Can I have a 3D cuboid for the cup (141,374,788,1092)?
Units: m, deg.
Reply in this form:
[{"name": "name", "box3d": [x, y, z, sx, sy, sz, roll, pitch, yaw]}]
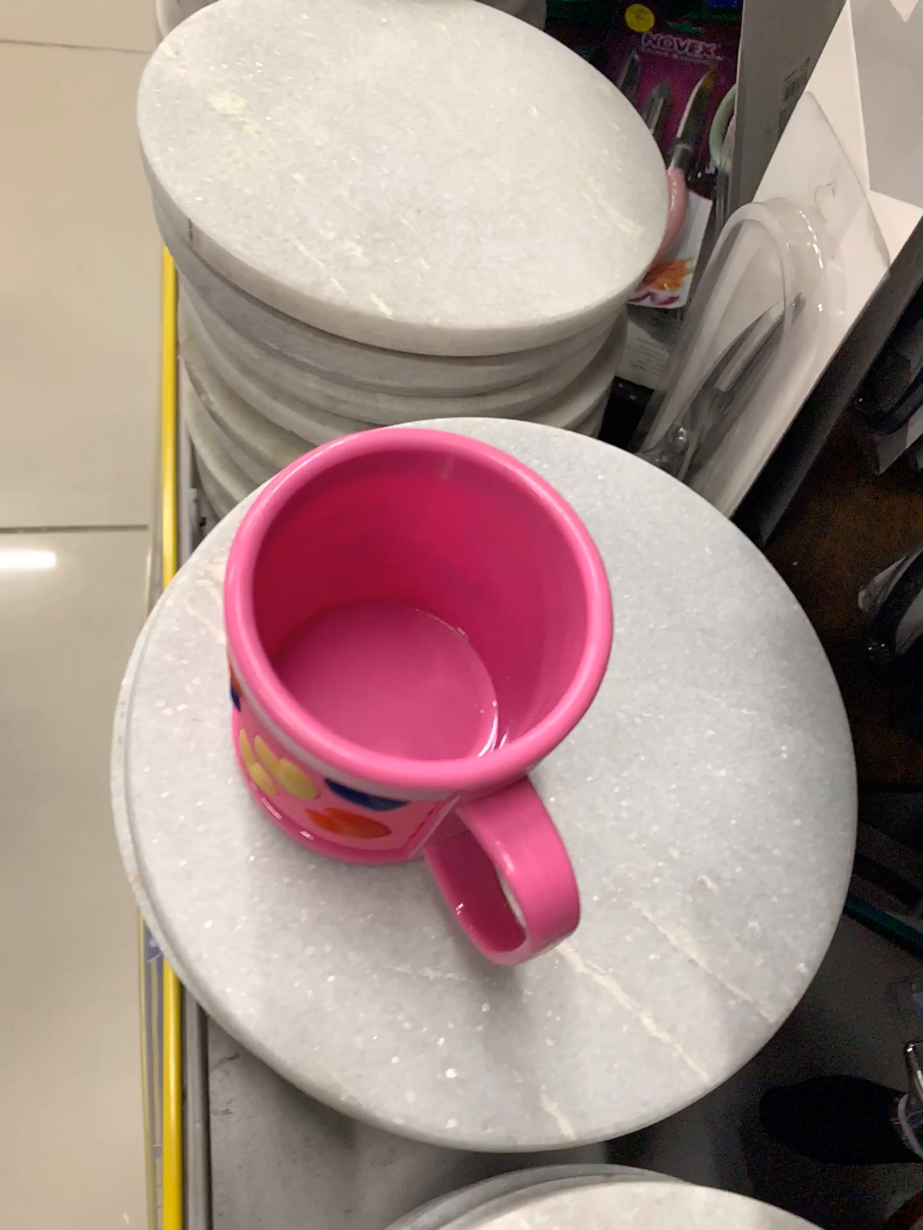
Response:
[{"name": "cup", "box3d": [-0.011, 0.031, 0.223, 0.080, 0.100, 0.120, -19, 68, -20]}]
